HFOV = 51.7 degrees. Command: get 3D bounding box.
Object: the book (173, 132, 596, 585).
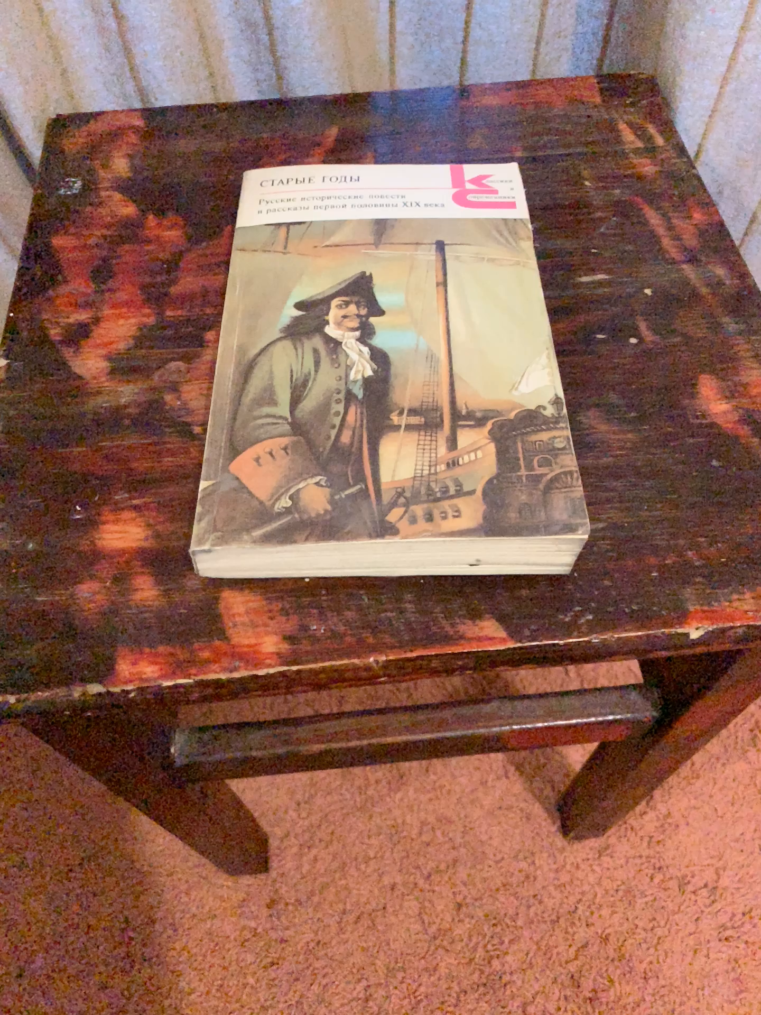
[{"bbox_3d":[-0.001,-0.068,0.294,0.123,0.026,0.198,-2,57,1],"label":"book"}]
